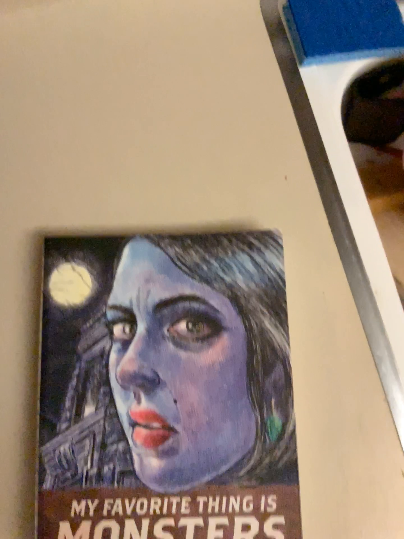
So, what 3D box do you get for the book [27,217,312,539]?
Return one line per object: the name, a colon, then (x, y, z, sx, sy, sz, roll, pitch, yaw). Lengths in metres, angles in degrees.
book: (-0.029, 0.098, 0.362, 0.200, 0.040, 0.270, -3, 79, -2)
